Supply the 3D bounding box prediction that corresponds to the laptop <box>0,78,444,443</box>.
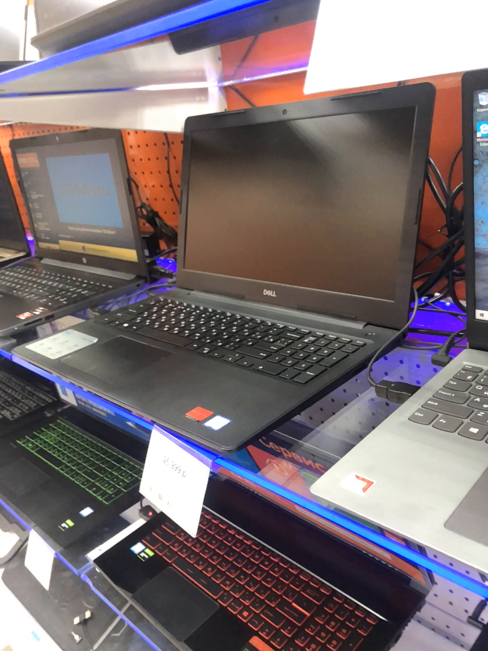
[{"bbox_3d":[-0.039,-0.107,0.578,0.374,0.233,0.317,13,28,42],"label":"laptop"}]
